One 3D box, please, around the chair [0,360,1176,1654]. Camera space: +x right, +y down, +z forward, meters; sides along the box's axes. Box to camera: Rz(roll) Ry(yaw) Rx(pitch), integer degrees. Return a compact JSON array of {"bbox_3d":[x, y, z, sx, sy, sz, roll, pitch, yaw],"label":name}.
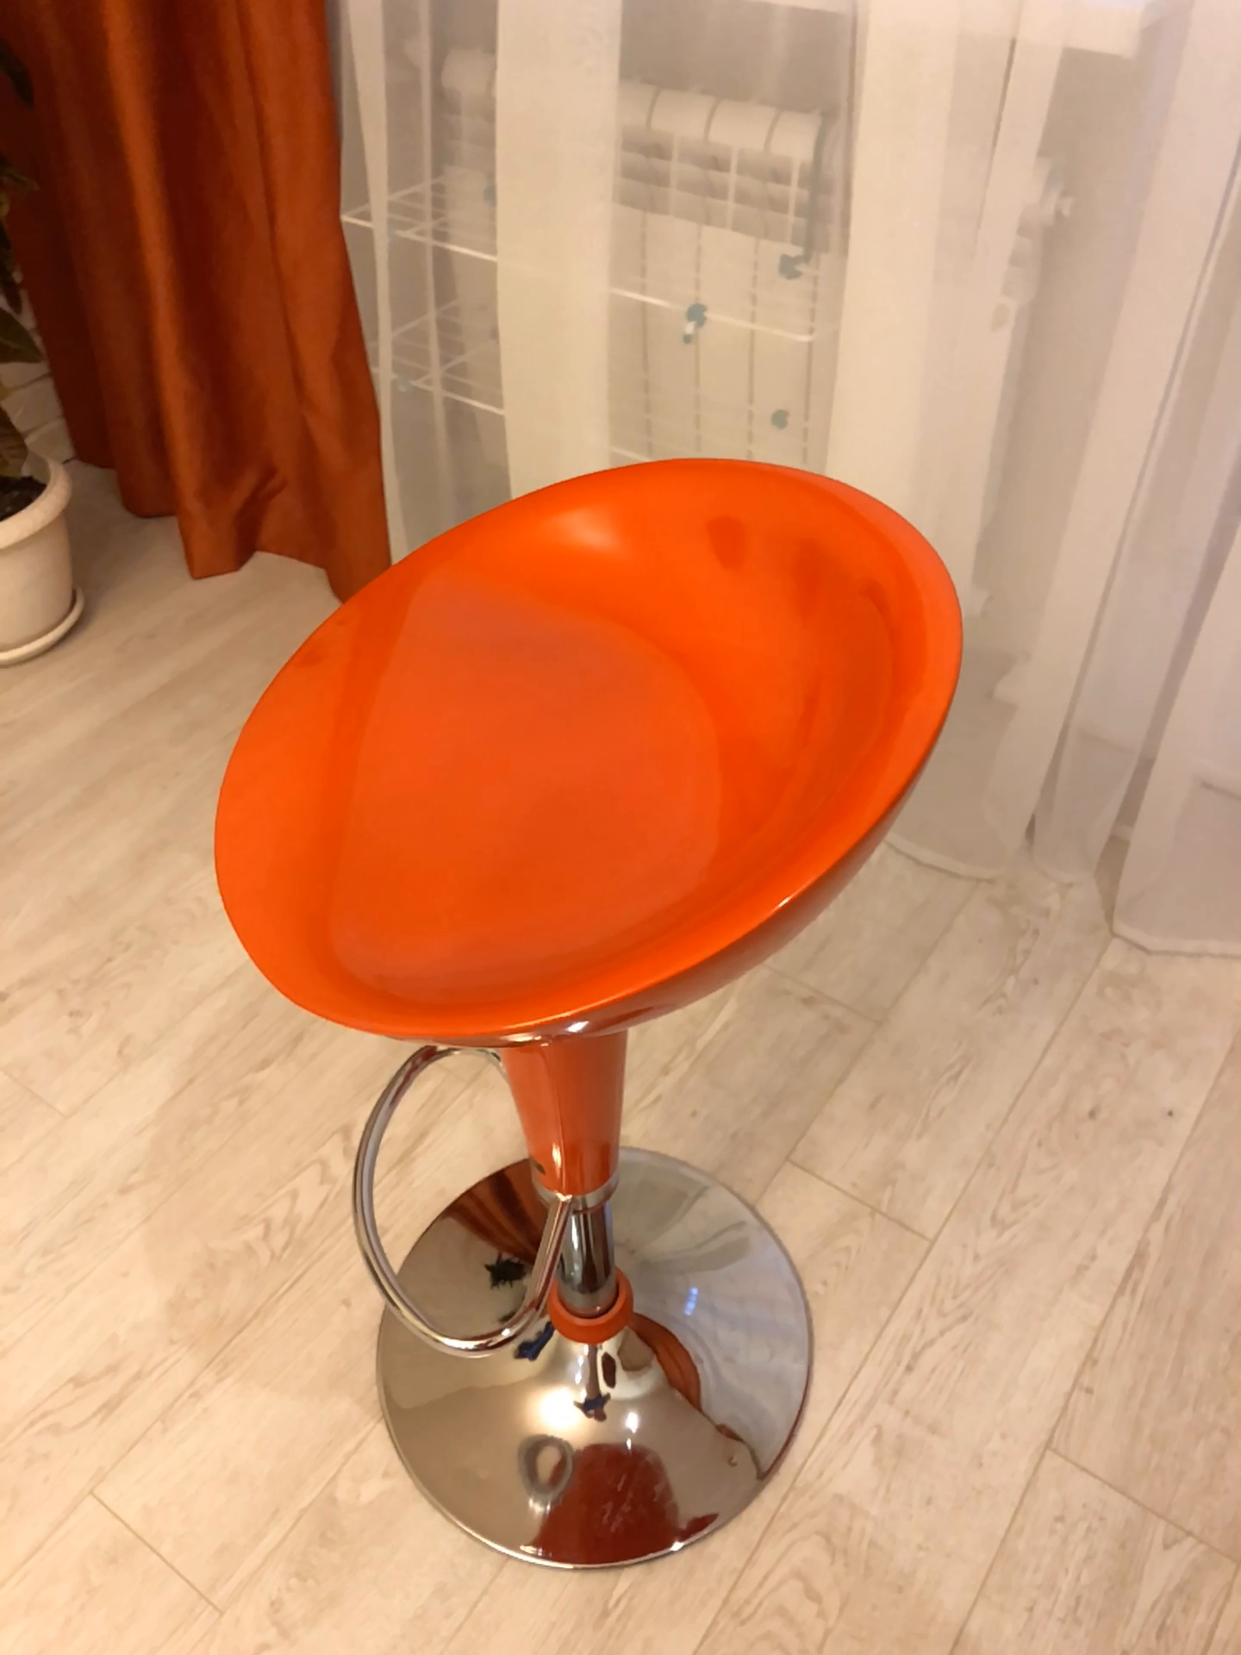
[{"bbox_3d":[-0.016,0.163,0.832,0.390,0.735,0.403,-3,43,-1],"label":"chair"}]
